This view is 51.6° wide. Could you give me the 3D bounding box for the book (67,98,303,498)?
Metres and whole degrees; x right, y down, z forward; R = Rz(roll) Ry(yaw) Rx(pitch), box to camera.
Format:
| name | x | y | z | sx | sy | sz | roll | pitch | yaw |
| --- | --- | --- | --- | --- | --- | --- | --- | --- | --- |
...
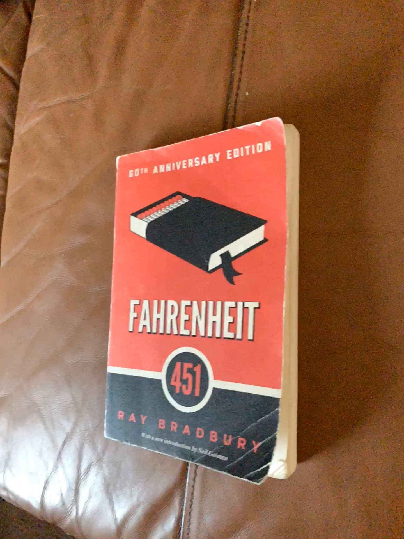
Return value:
| name | x | y | z | sx | sy | sz | roll | pitch | yaw |
| --- | --- | --- | --- | --- | --- | --- | --- | --- | --- |
| book | -0.012 | 0.014 | 0.282 | 0.151 | 0.040 | 0.220 | -2 | 81 | 27 |
